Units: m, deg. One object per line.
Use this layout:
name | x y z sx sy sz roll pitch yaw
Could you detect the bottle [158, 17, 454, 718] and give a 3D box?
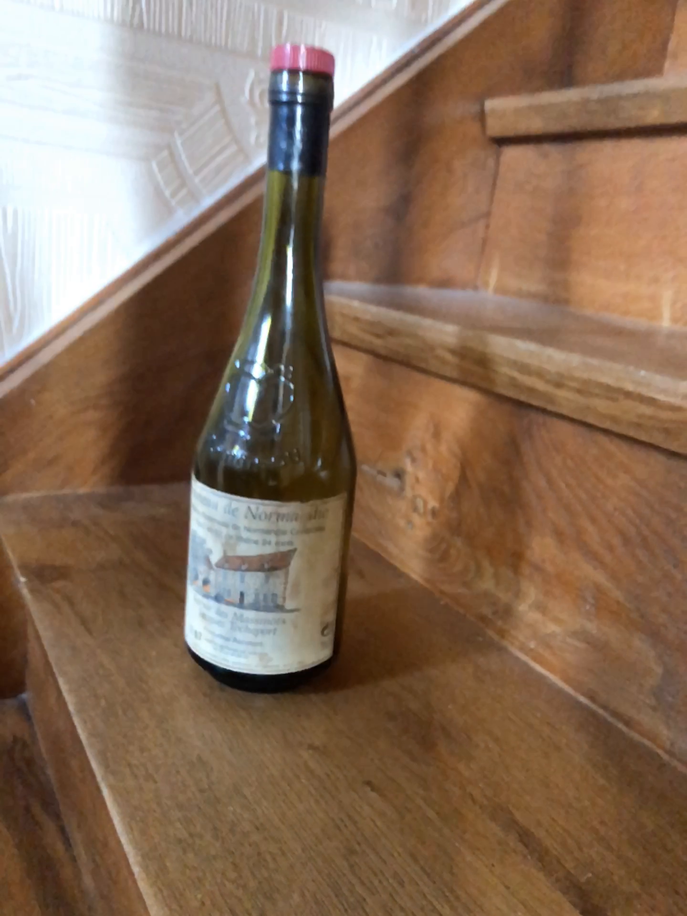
bottle | -0.023 -0.040 0.390 0.090 0.309 0.090 6 15 -2
